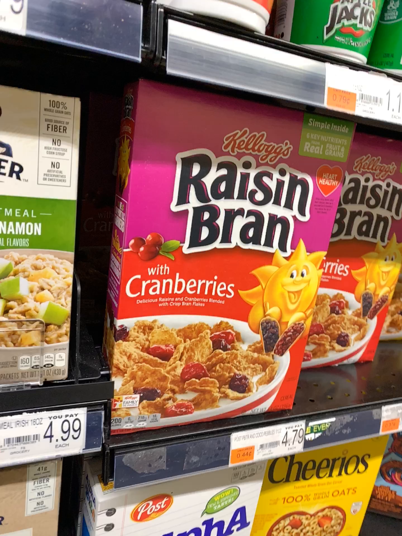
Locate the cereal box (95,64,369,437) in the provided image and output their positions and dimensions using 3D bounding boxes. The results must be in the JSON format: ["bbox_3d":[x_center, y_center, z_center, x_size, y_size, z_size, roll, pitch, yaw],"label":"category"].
[{"bbox_3d":[0.021,-0.004,0.375,0.200,0.289,0.060,1,17,-24],"label":"cereal box"}]
